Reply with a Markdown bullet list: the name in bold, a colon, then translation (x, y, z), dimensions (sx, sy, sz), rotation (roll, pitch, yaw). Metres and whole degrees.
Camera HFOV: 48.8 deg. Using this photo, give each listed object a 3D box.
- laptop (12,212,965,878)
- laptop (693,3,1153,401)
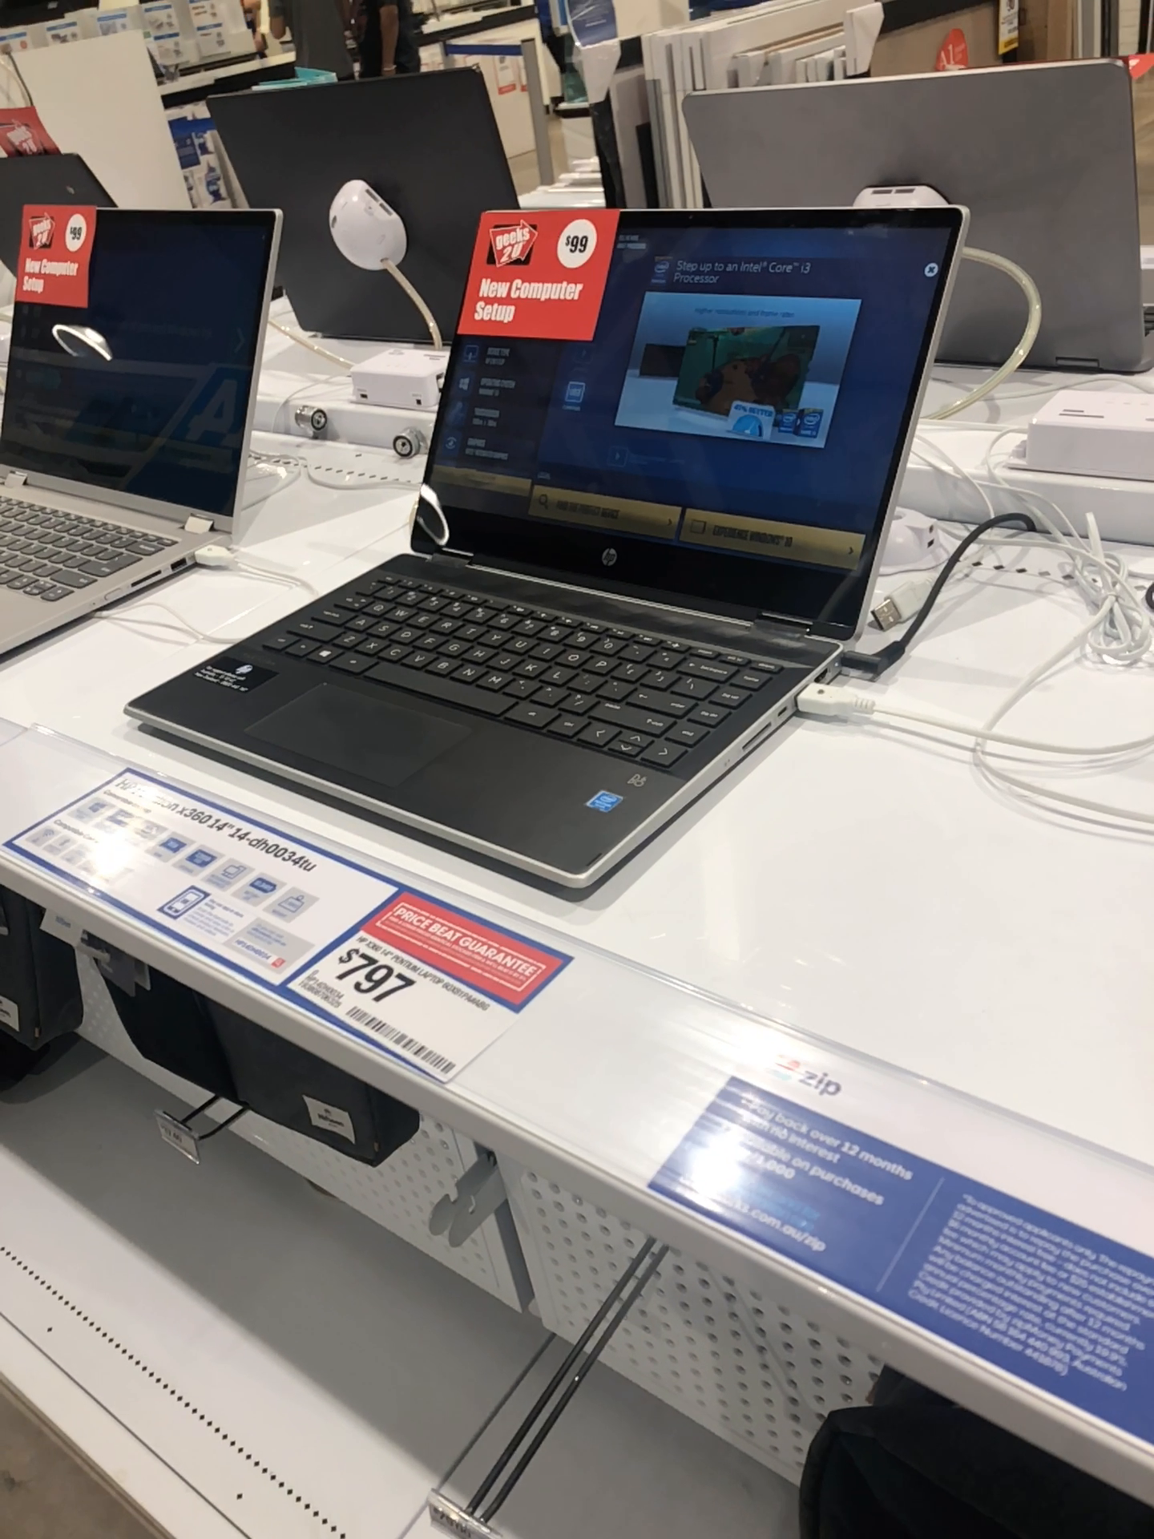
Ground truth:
- **laptop**: translation (-0.025, -0.153, 0.652), dimensions (0.316, 0.169, 0.340), rotation (17, 42, 35)
- **laptop**: translation (0.329, -0.455, 1.006), dimensions (0.307, 0.199, 0.357), rotation (18, 41, 36)
